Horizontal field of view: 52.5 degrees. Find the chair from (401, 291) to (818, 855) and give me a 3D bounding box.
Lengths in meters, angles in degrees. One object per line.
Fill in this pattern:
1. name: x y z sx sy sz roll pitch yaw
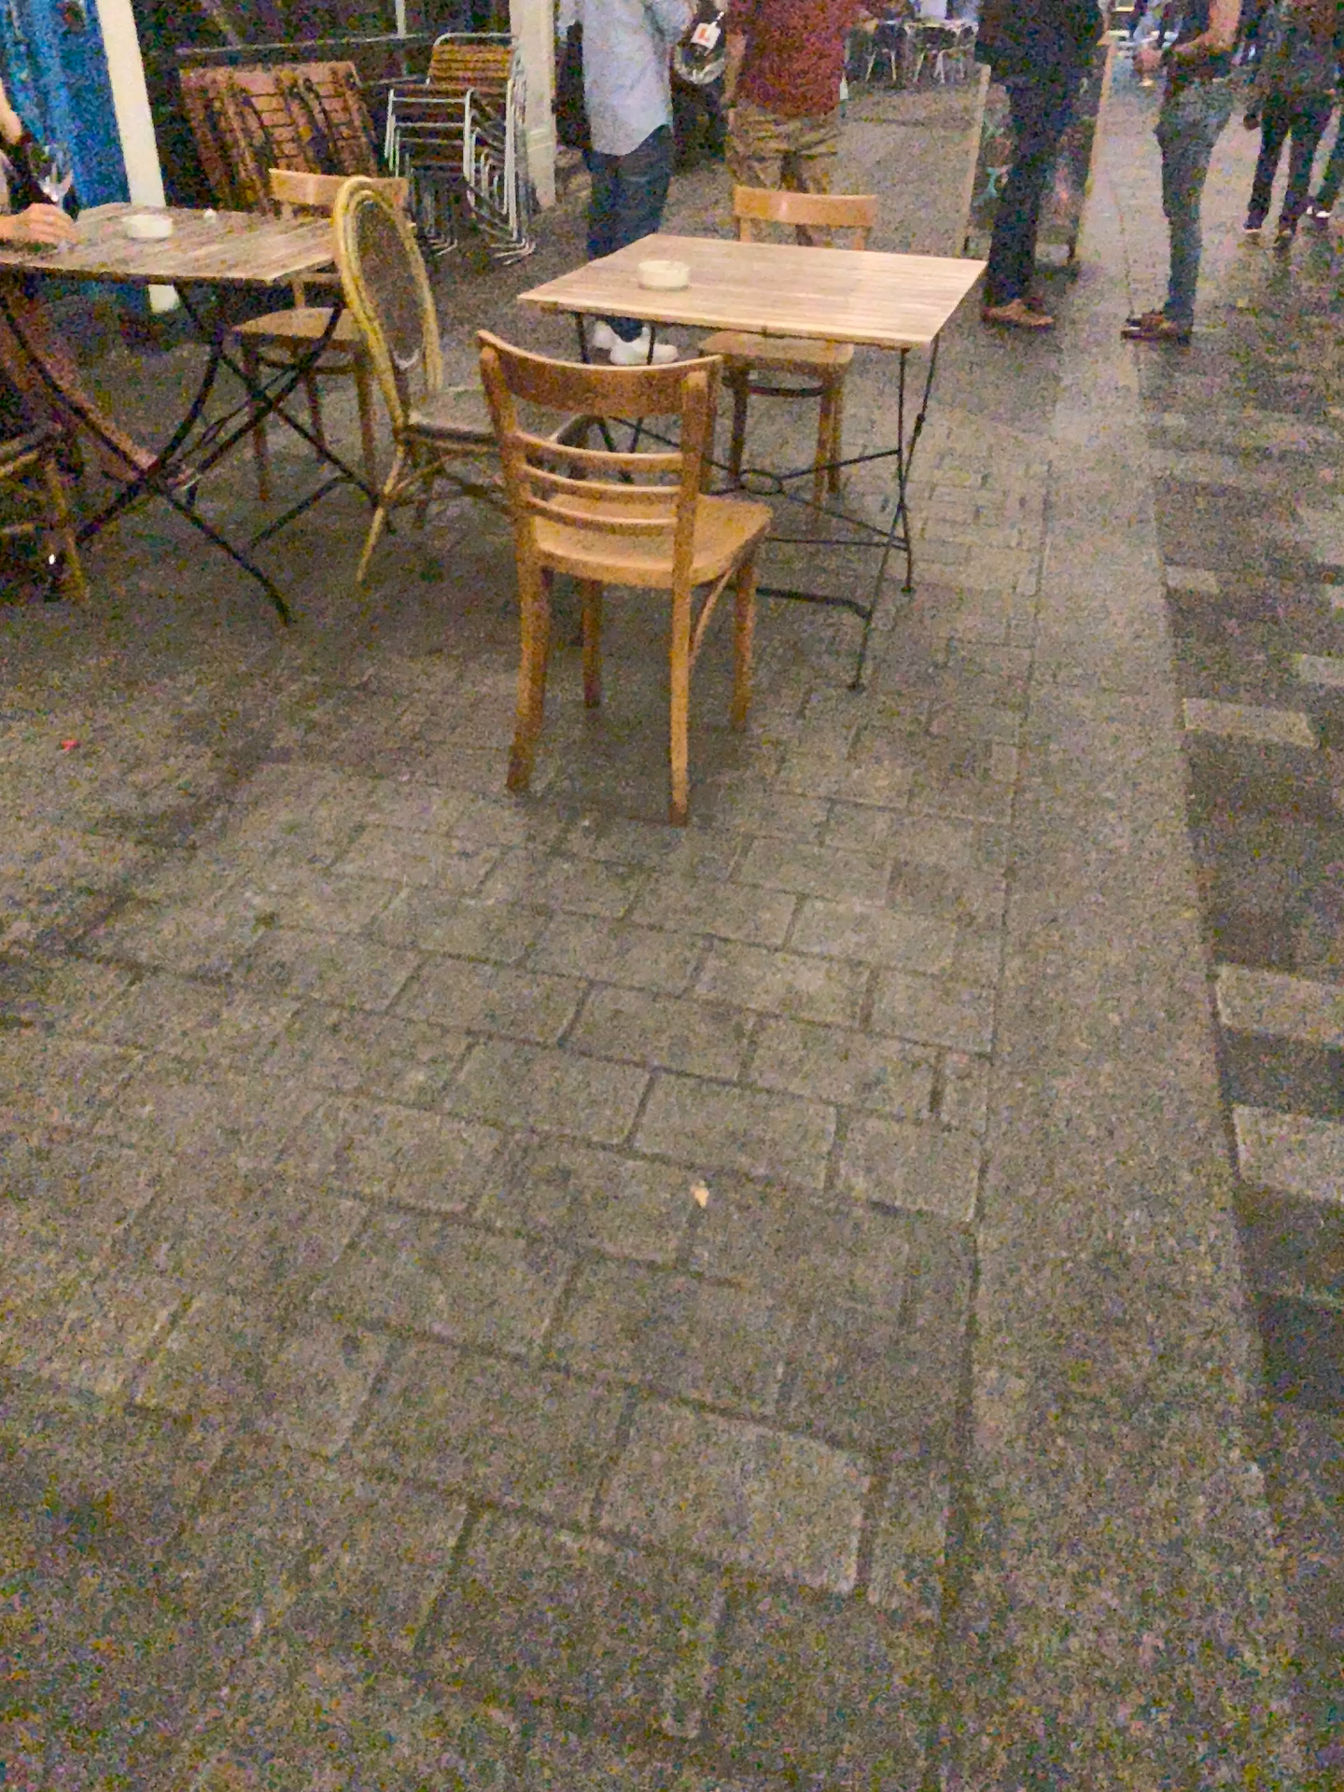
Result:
1. chair: -0.079 -0.578 2.376 0.510 0.762 0.545 10 35 14
